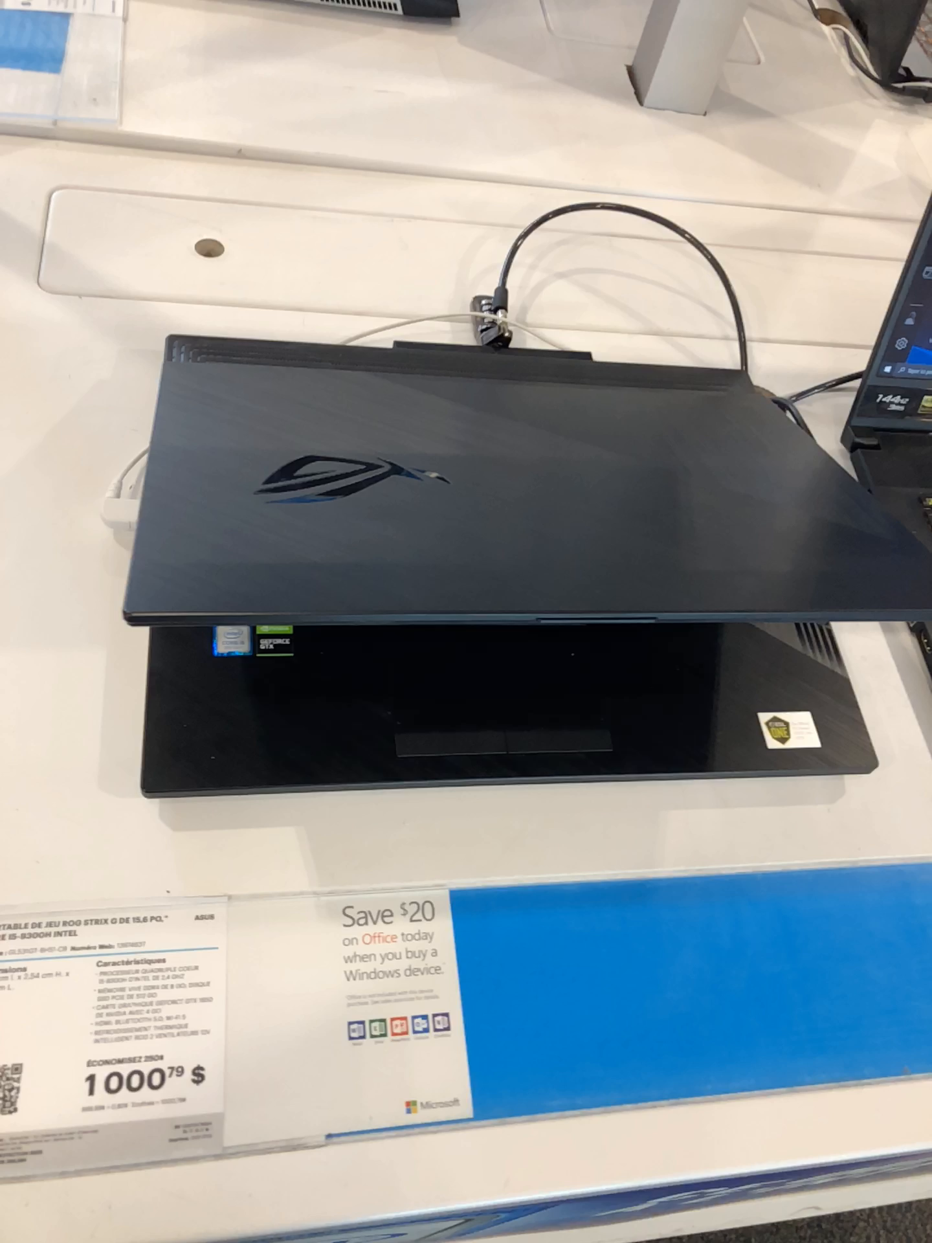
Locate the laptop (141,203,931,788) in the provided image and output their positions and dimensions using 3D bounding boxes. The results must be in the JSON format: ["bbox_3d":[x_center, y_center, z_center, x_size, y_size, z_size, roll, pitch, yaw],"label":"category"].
[{"bbox_3d":[0.027,-0.067,0.502,0.331,0.097,0.263,0,59,-11],"label":"laptop"}]
